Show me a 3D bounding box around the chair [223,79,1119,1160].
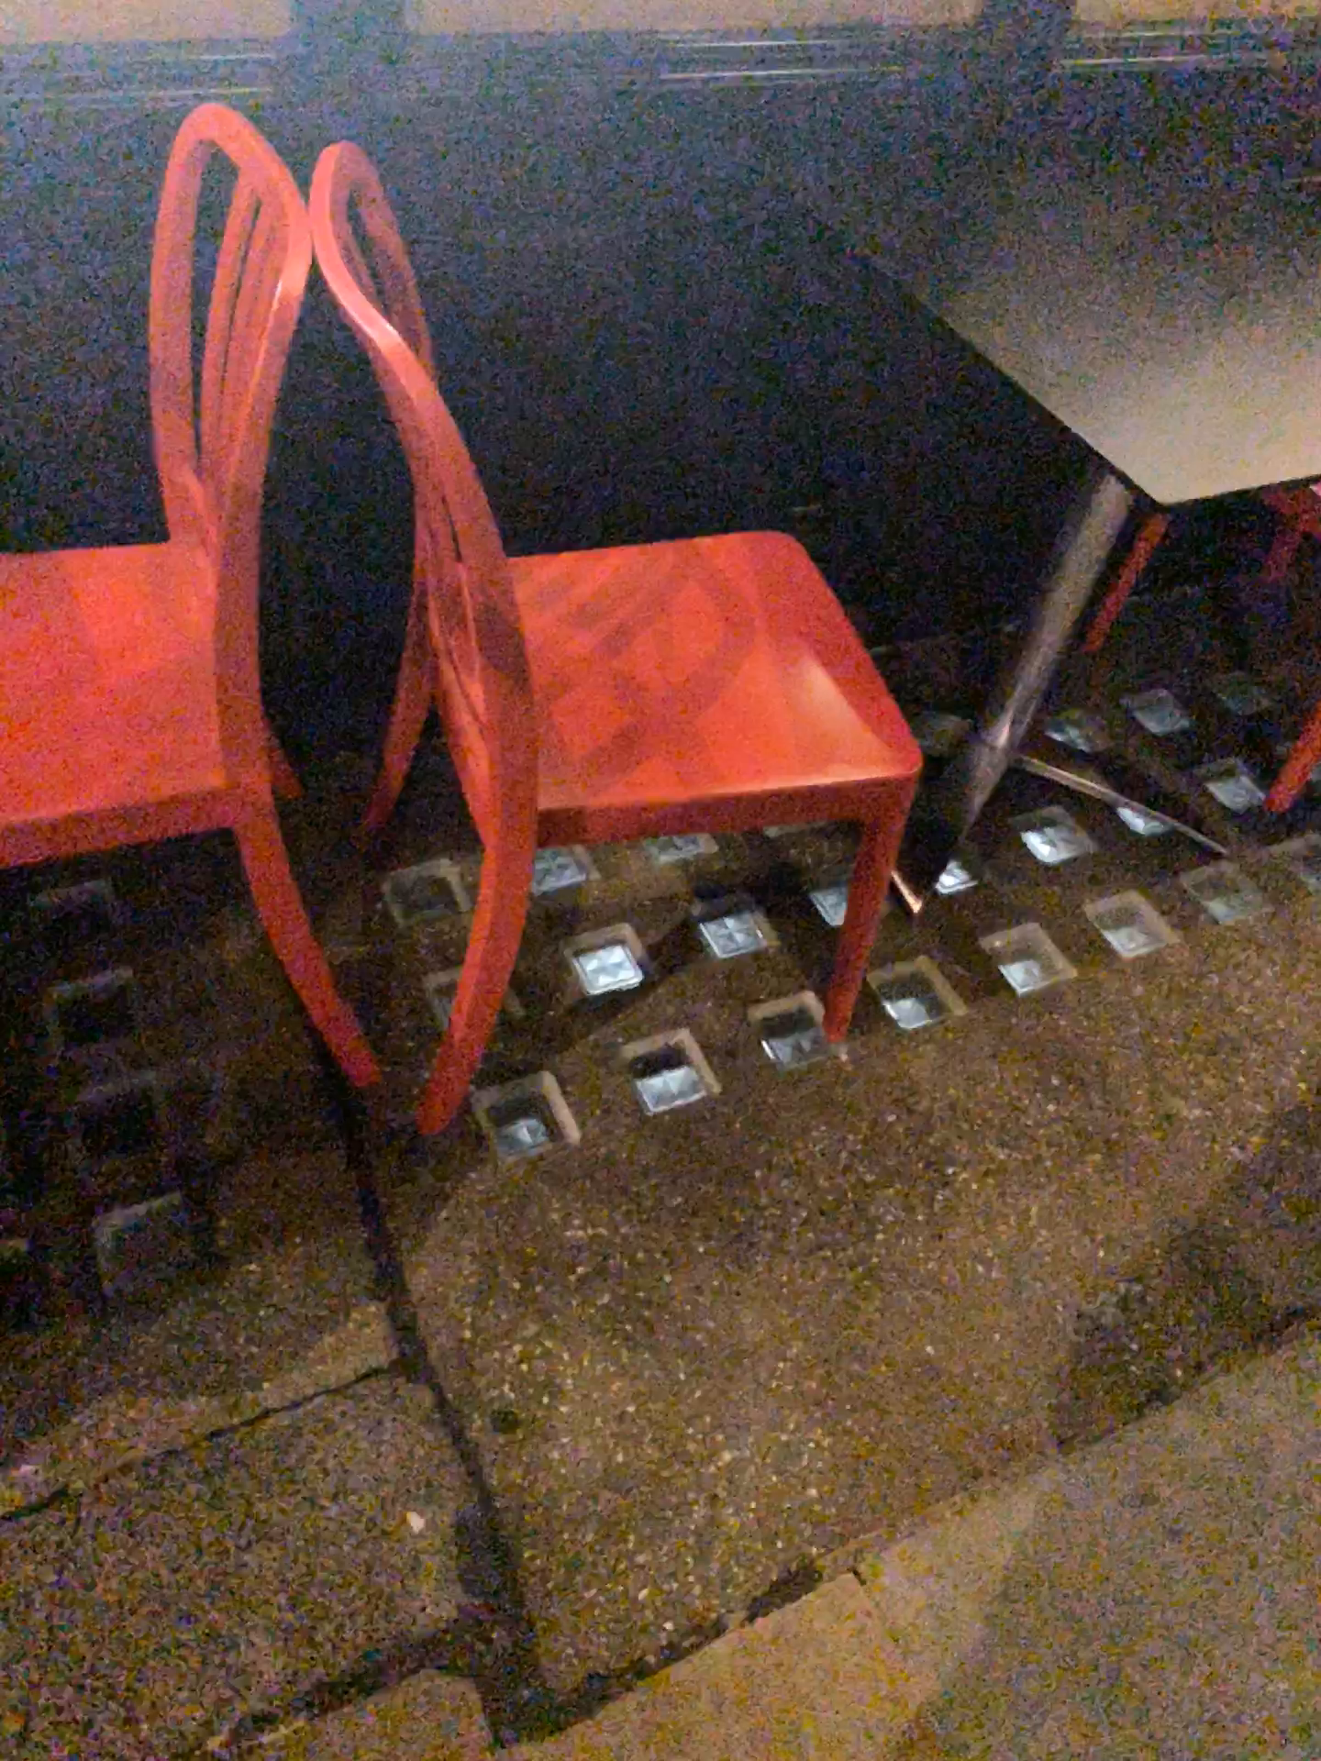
[{"bbox_3d":[-0.060,-0.259,1.377,0.561,0.851,0.575,-12,47,-18],"label":"chair"}]

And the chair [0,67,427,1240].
[{"bbox_3d":[-0.579,-0.200,1.260,0.541,0.851,0.544,-14,48,-20],"label":"chair"}]
